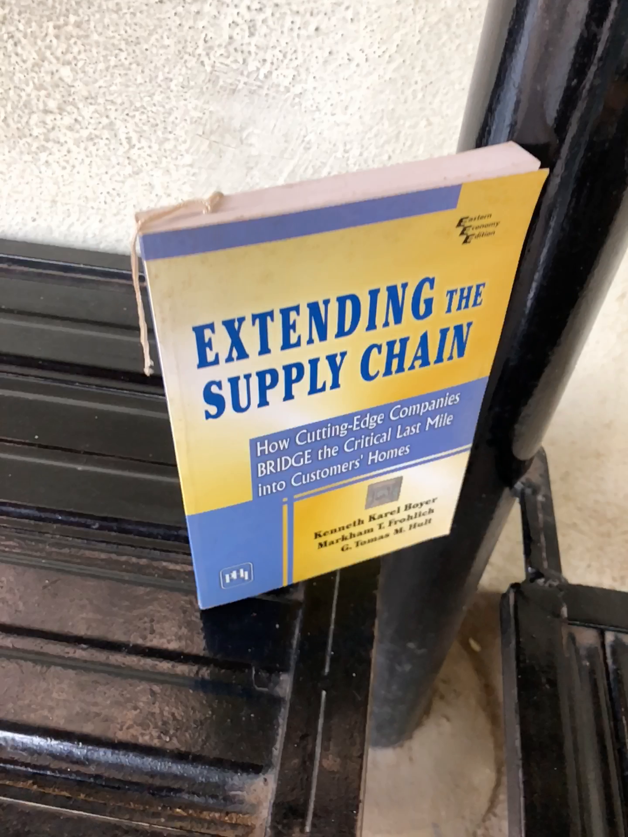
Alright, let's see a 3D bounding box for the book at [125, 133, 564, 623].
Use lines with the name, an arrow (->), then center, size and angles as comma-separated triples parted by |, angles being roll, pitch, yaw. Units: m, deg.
book -> 0.008, -0.002, 0.317 | 0.150, 0.229, 0.030 | -13, 46, -17
